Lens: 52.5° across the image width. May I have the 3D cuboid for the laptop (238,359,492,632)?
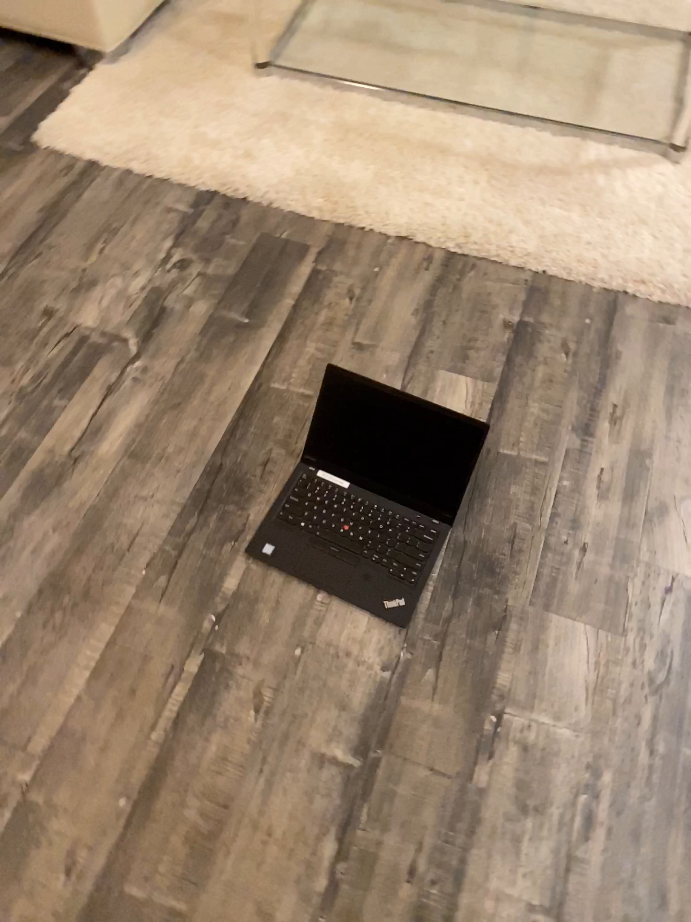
[{"bbox_3d":[0.041,0.052,1.257,0.319,0.149,0.356,22,64,13],"label":"laptop"}]
